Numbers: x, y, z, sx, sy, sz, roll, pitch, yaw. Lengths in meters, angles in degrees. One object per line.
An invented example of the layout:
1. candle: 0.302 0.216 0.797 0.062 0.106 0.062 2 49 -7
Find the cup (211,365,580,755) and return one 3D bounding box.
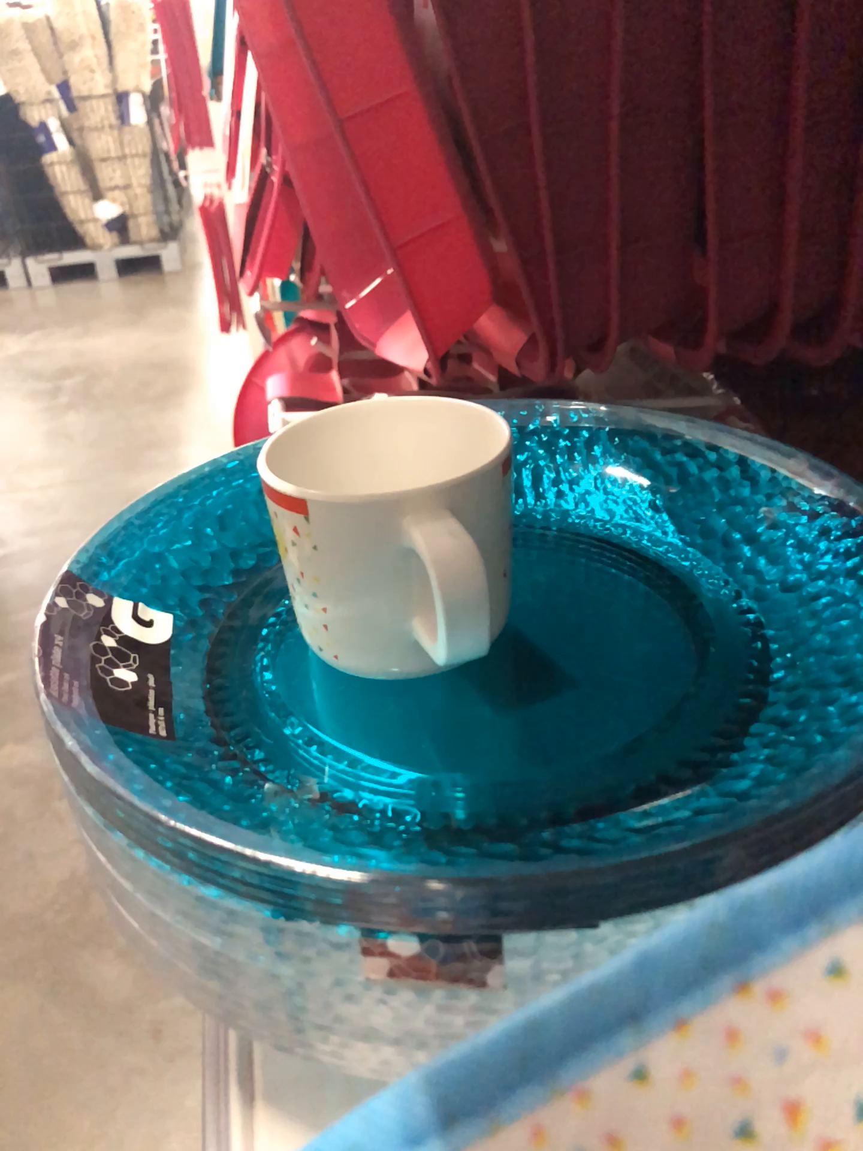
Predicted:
1. cup: -0.014 -0.012 0.284 0.076 0.059 0.103 -15 32 -13
